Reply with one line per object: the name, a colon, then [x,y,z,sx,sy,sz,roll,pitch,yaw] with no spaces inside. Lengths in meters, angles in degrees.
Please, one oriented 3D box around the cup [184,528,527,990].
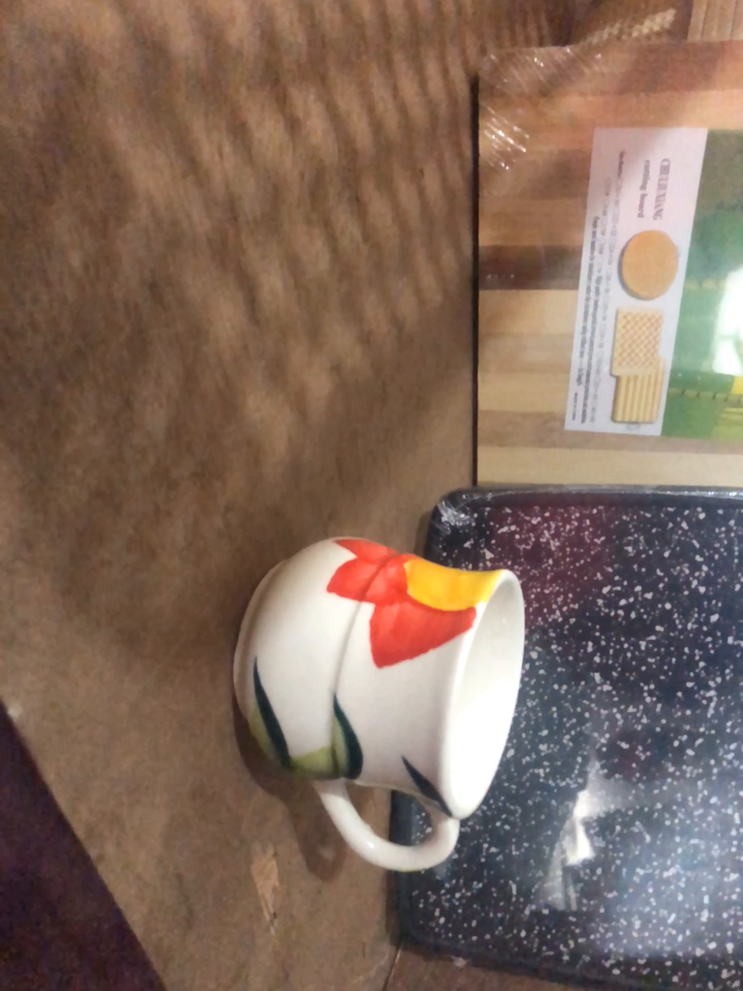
cup: [0.002,0.066,0.213,0.060,0.060,0.090,-47,138,-53]
